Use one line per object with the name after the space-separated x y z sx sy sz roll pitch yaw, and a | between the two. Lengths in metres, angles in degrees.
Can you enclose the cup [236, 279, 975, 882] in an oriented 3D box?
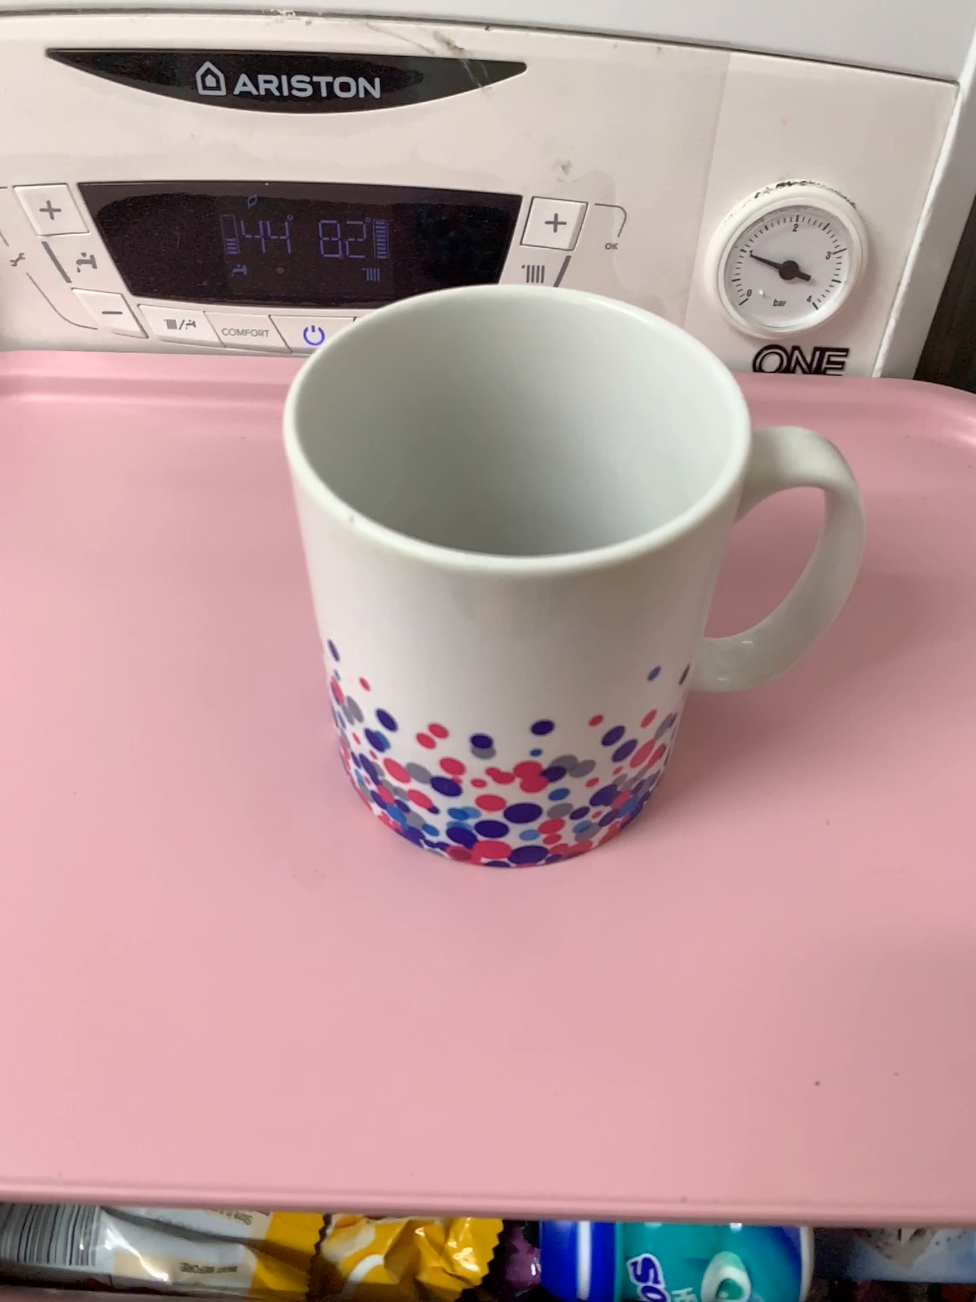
0.022 -0.014 0.204 0.120 0.089 0.081 0 44 -2 | cup
